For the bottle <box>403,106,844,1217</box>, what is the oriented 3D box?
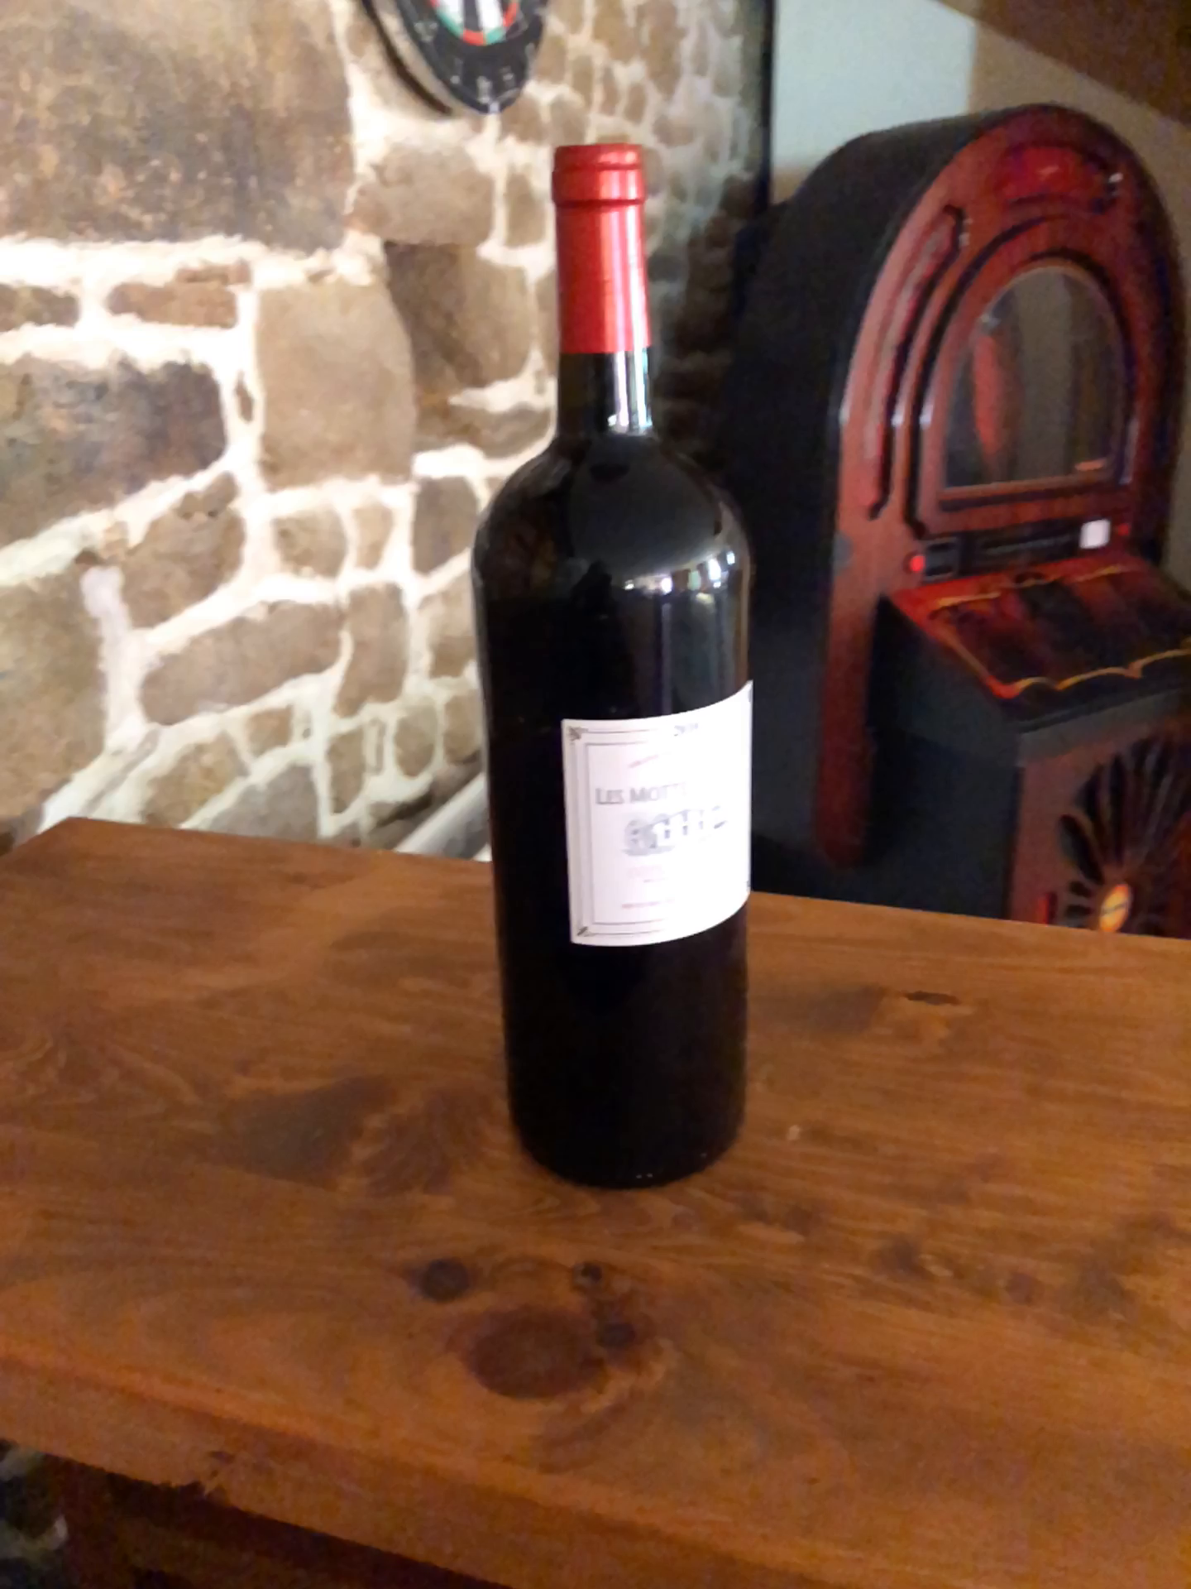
[{"bbox_3d":[0.010,-0.039,0.459,0.100,0.348,0.100,-2,21,1],"label":"bottle"}]
